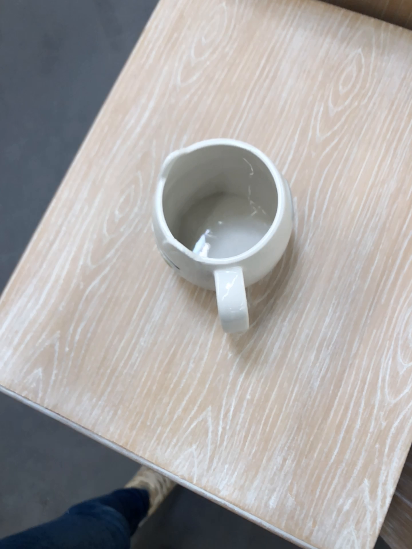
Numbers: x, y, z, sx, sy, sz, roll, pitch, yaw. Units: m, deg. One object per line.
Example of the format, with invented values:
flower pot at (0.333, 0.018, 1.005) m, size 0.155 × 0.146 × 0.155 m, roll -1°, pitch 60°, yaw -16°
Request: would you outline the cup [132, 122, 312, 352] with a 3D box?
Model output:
cup at (0.011, -0.018, 0.306) m, size 0.091 × 0.073 × 0.124 m, roll -9°, pitch 77°, yaw 7°
